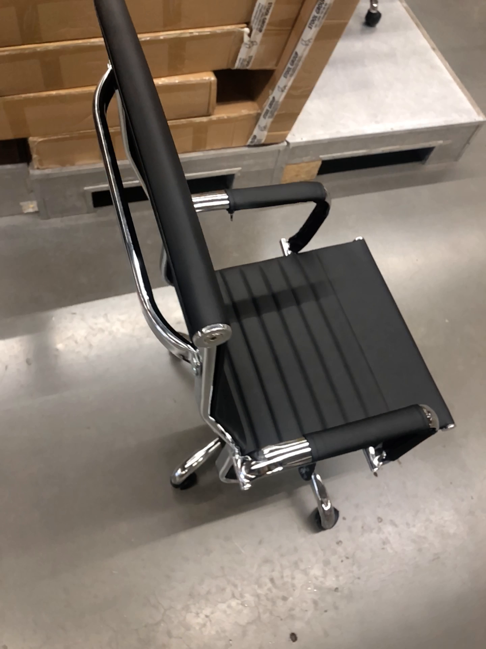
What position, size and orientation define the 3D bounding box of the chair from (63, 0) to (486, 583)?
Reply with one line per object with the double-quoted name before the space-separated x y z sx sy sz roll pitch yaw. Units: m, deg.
"chair" 0.150 -0.017 1.070 0.741 1.095 0.672 -11 61 -15
